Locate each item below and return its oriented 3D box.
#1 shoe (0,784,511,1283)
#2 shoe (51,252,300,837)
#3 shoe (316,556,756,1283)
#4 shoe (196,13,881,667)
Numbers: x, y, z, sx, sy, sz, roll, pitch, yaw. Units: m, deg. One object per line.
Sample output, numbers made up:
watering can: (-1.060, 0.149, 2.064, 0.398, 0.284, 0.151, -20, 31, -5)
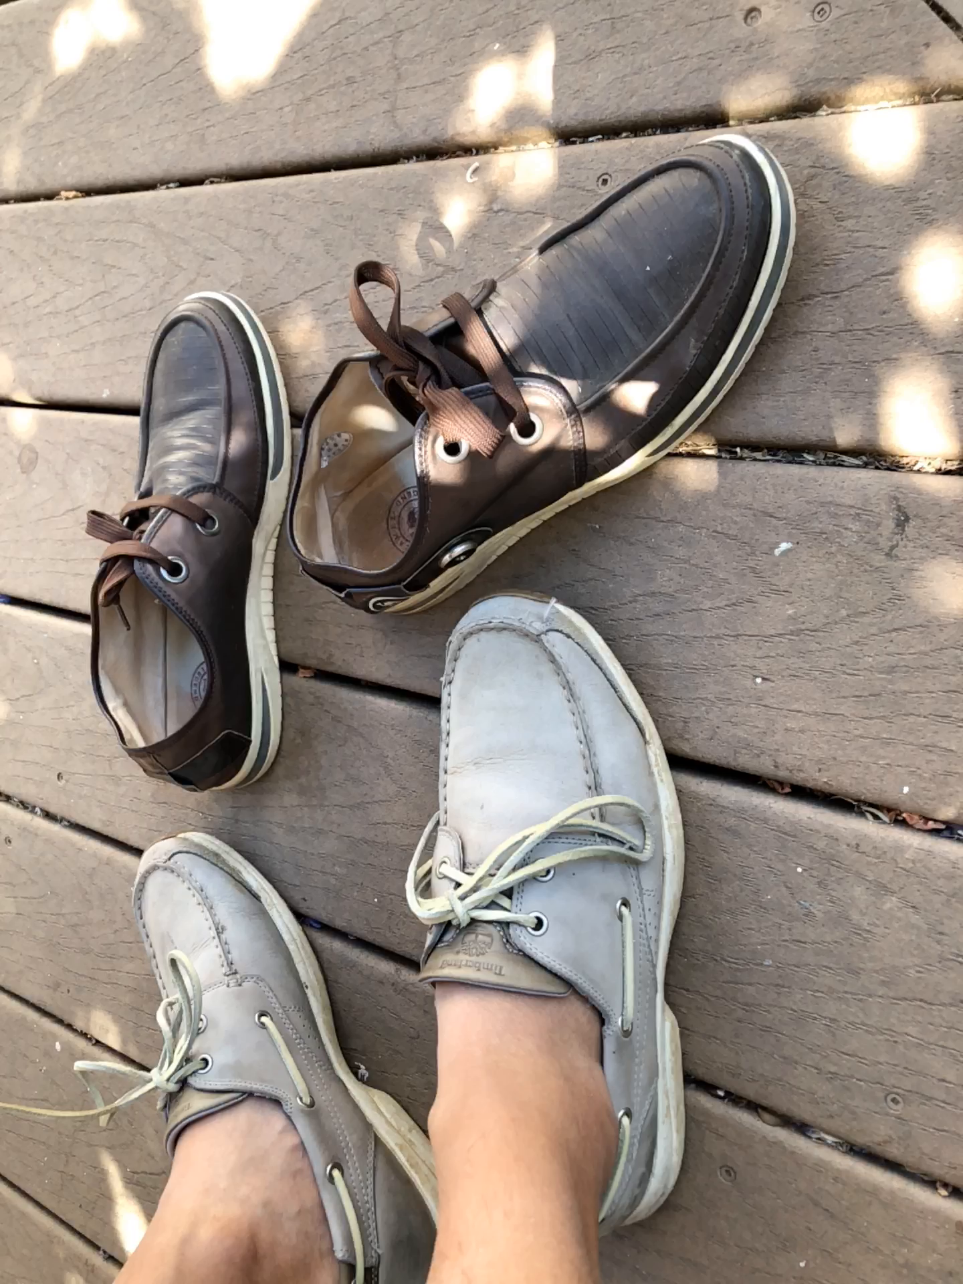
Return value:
shoe: (-0.126, 0.229, 0.548, 0.110, 0.086, 0.293, -47, 68, 25)
shoe: (-0.165, -0.050, 0.565, 0.110, 0.069, 0.278, 6, 97, 32)
shoe: (0.024, 0.119, 0.451, 0.110, 0.101, 0.292, -10, 87, 32)
shoe: (0.009, -0.105, 0.457, 0.278, 0.079, 0.109, -34, 74, 30)
